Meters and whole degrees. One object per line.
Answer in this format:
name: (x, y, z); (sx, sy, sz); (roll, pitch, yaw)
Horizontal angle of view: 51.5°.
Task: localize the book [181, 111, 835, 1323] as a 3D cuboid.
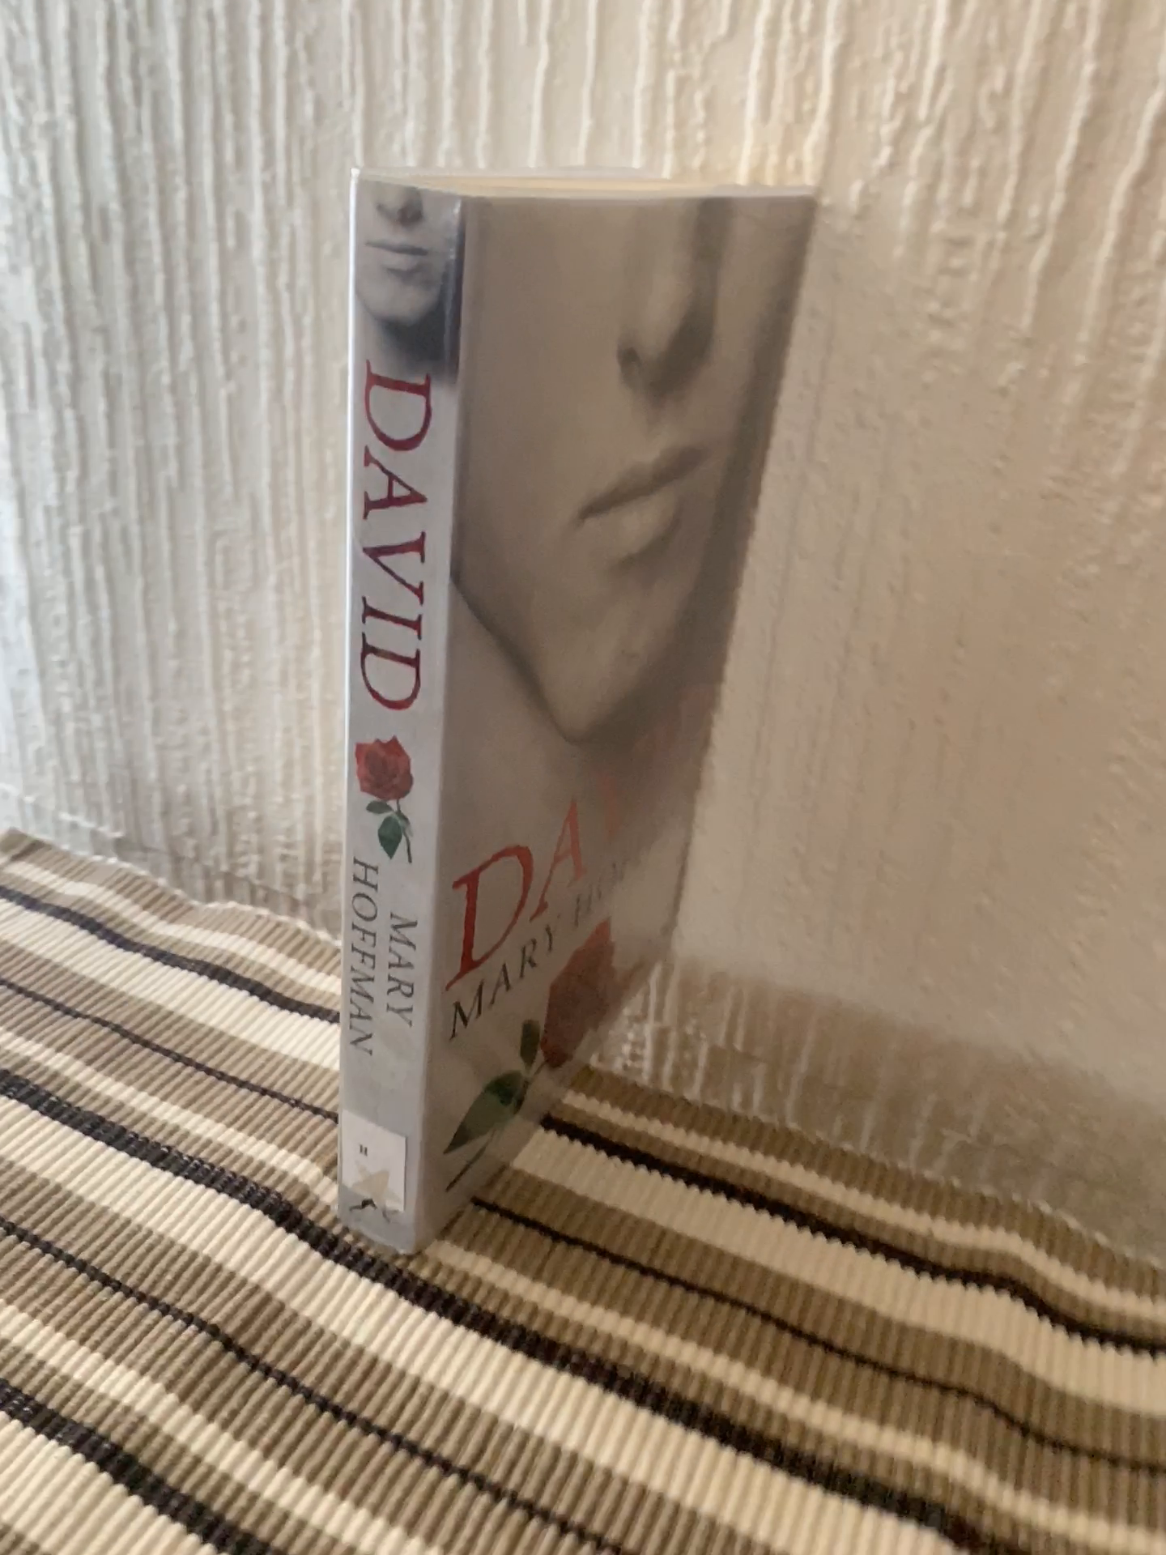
book: (-0.007, -0.022, 0.275); (0.040, 0.218, 0.171); (18, 31, 21)
